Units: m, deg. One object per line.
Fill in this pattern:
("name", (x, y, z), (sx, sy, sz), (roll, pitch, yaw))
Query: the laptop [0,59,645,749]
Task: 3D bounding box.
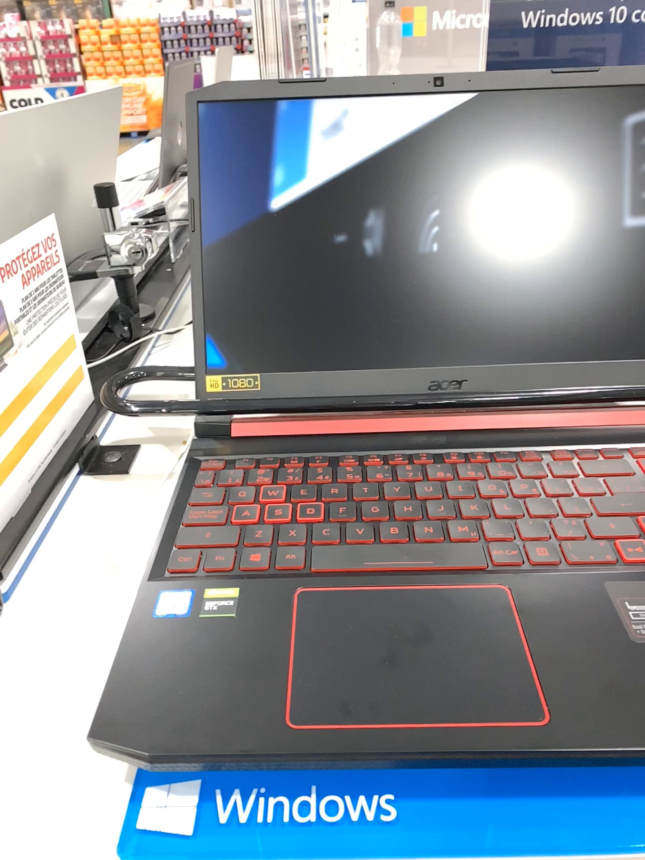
("laptop", (0.077, -0.071, 0.369), (0.358, 0.198, 0.381), (-1, 32, 3))
